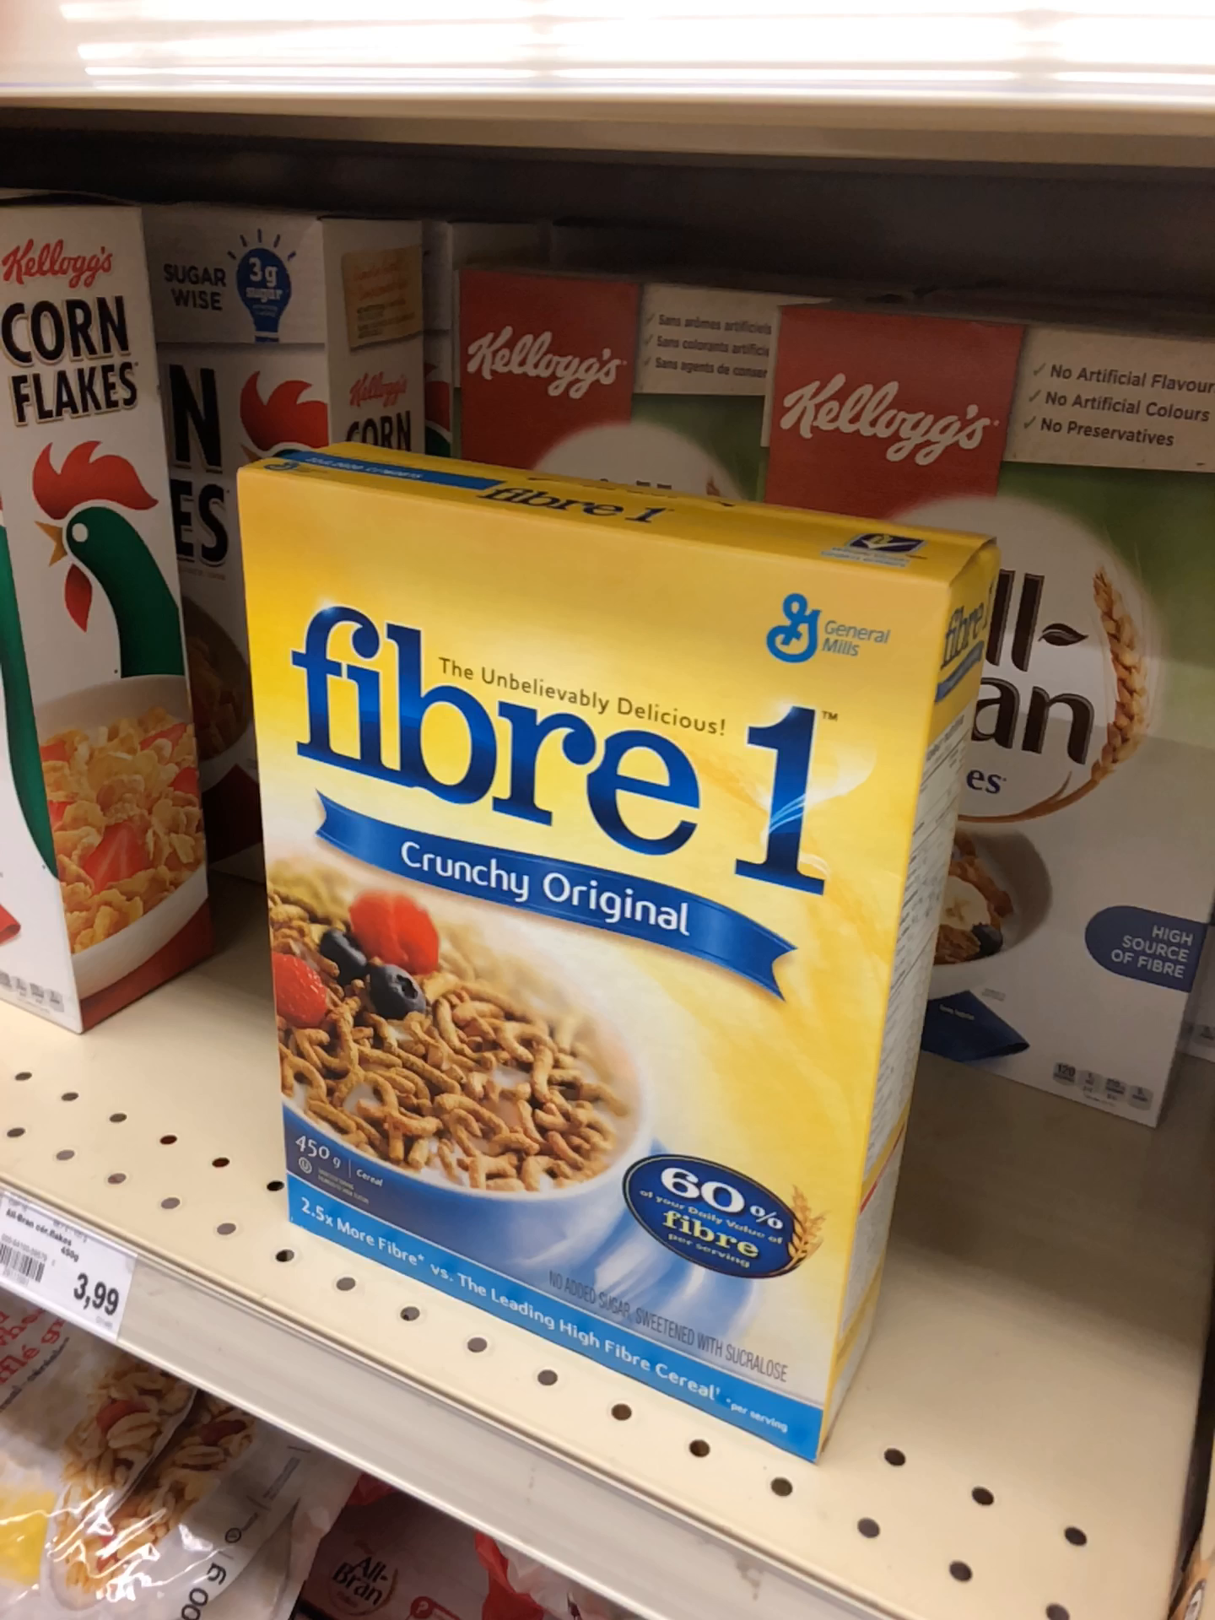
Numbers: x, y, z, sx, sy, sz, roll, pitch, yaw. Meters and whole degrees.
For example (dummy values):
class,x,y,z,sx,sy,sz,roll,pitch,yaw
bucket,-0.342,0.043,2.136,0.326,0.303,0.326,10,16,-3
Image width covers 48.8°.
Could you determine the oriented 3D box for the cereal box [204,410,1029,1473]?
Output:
class,x,y,z,sx,sy,sz,roll,pitch,yaw
cereal box,-0.010,0.034,0.401,0.210,0.268,0.060,15,27,25
